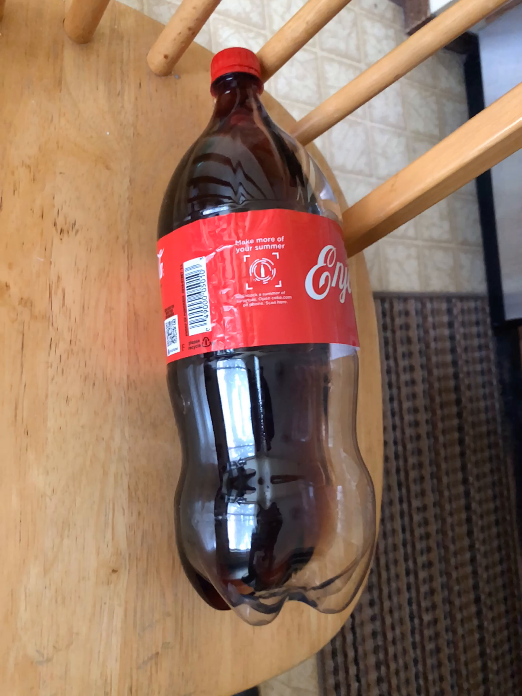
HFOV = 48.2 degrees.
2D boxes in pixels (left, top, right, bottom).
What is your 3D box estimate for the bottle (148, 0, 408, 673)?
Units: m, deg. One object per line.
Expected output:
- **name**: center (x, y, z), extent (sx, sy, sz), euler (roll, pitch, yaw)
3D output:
- **bottle**: center (0.006, -0.017, 0.322), extent (0.100, 0.120, 0.320), euler (-3, 85, 1)
